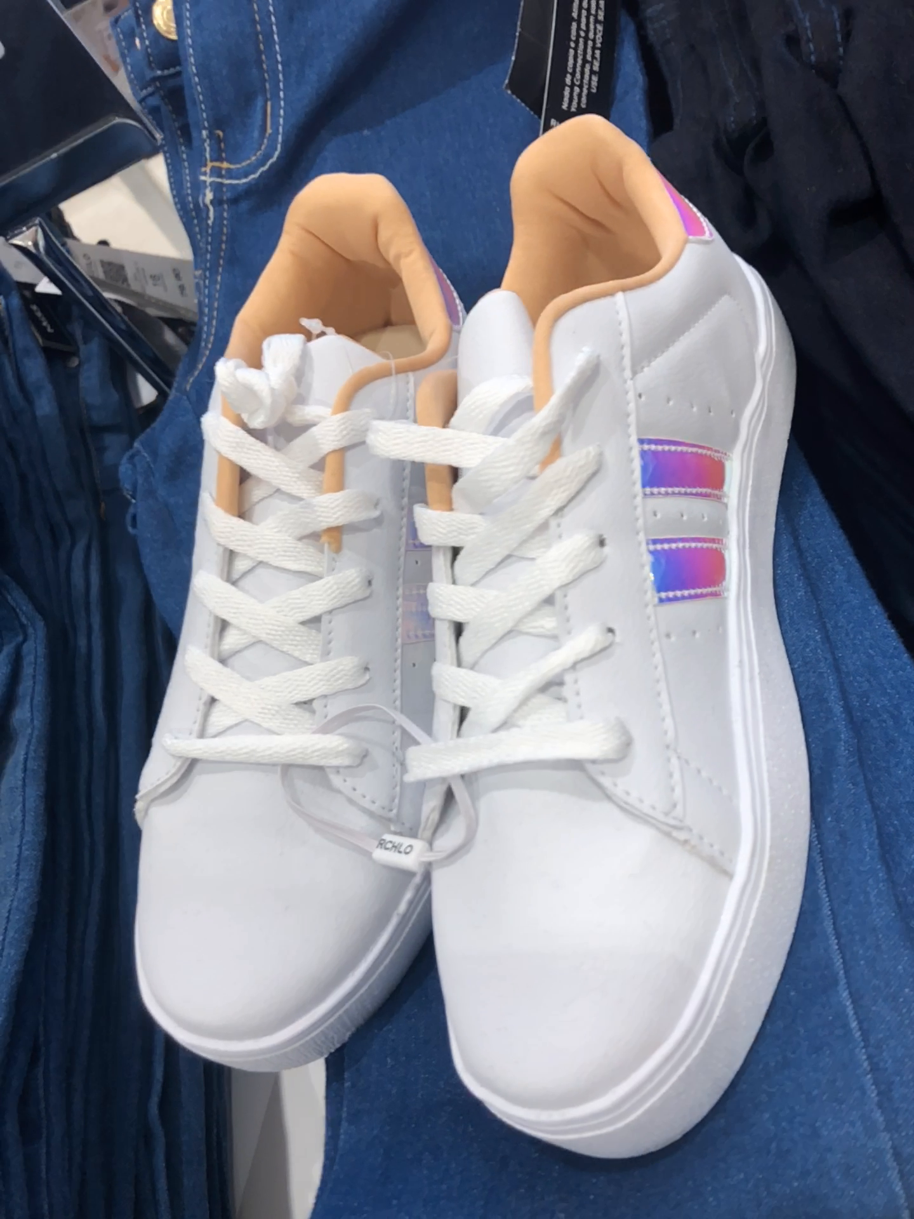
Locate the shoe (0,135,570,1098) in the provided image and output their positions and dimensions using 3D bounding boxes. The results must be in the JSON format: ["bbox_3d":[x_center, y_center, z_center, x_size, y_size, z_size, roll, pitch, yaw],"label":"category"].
[{"bbox_3d":[-0.031,-0.006,0.309,0.090,0.109,0.261,1,60,17],"label":"shoe"}]

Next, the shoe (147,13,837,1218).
[{"bbox_3d":[0.031,-0.005,0.257,0.090,0.109,0.261,-10,56,33],"label":"shoe"}]
